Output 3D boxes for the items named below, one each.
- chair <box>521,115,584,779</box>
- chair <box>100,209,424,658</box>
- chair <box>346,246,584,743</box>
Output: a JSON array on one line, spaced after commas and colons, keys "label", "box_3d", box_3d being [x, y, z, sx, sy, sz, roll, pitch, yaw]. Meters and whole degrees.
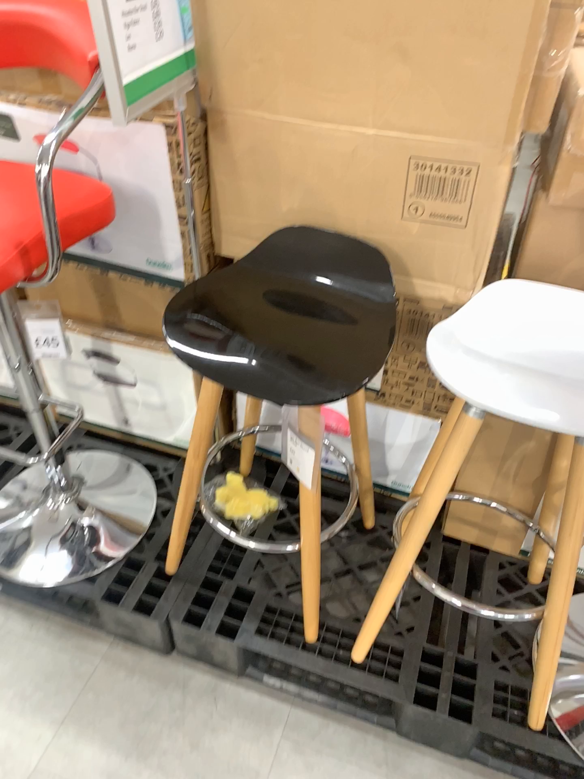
[{"label": "chair", "box_3d": [0.721, 0.205, 0.868, 0.475, 0.978, 0.480, 14, 40, 16]}, {"label": "chair", "box_3d": [-0.035, 0.093, 1.191, 0.385, 0.721, 0.399, 18, 41, 20]}, {"label": "chair", "box_3d": [0.367, 0.195, 1.070, 0.384, 0.721, 0.420, 14, 40, 16]}]
